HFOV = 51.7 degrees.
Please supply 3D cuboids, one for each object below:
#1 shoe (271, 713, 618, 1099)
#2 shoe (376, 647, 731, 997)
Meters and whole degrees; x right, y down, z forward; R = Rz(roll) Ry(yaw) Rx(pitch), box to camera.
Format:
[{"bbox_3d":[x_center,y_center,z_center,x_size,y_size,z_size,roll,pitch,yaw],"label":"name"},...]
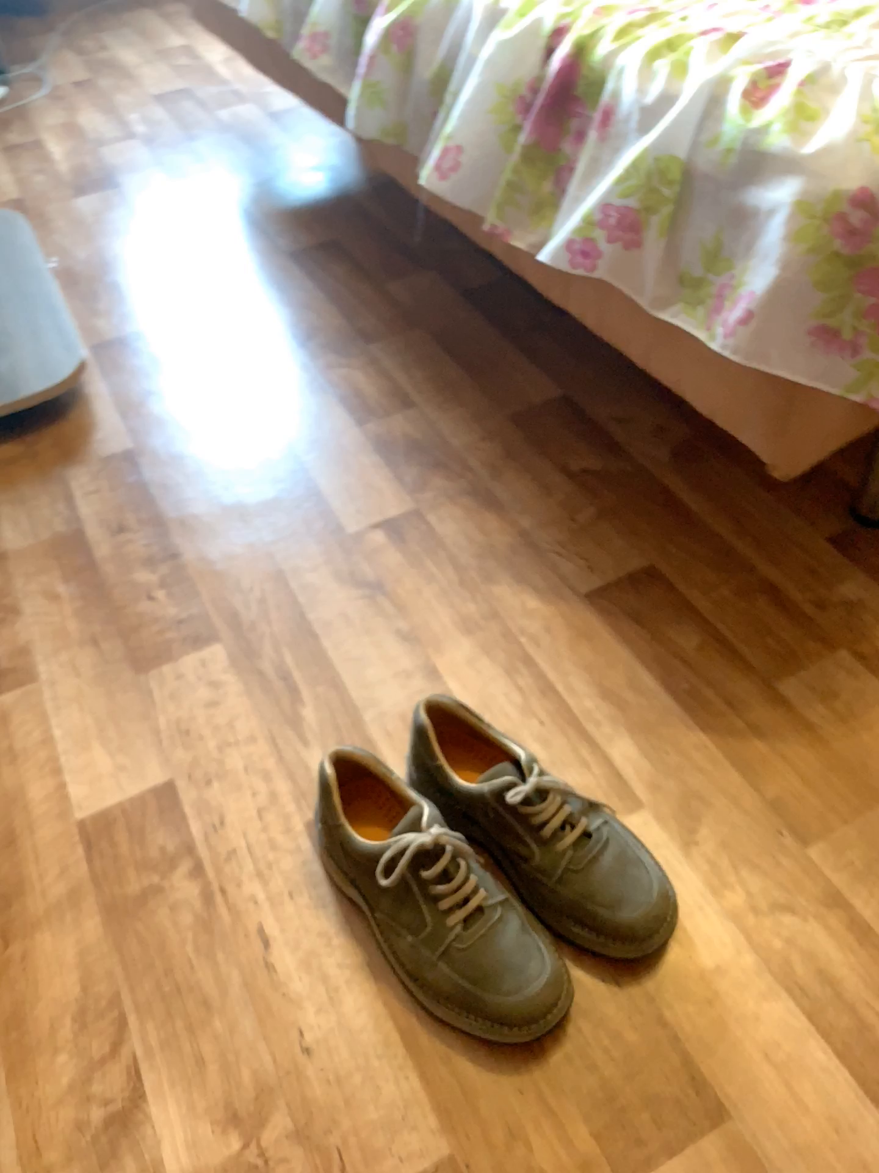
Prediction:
[{"bbox_3d":[-0.002,0.264,0.788,0.120,0.119,0.291,-35,53,-26],"label":"shoe"},{"bbox_3d":[0.091,0.198,0.813,0.291,0.110,0.120,34,58,31],"label":"shoe"}]
